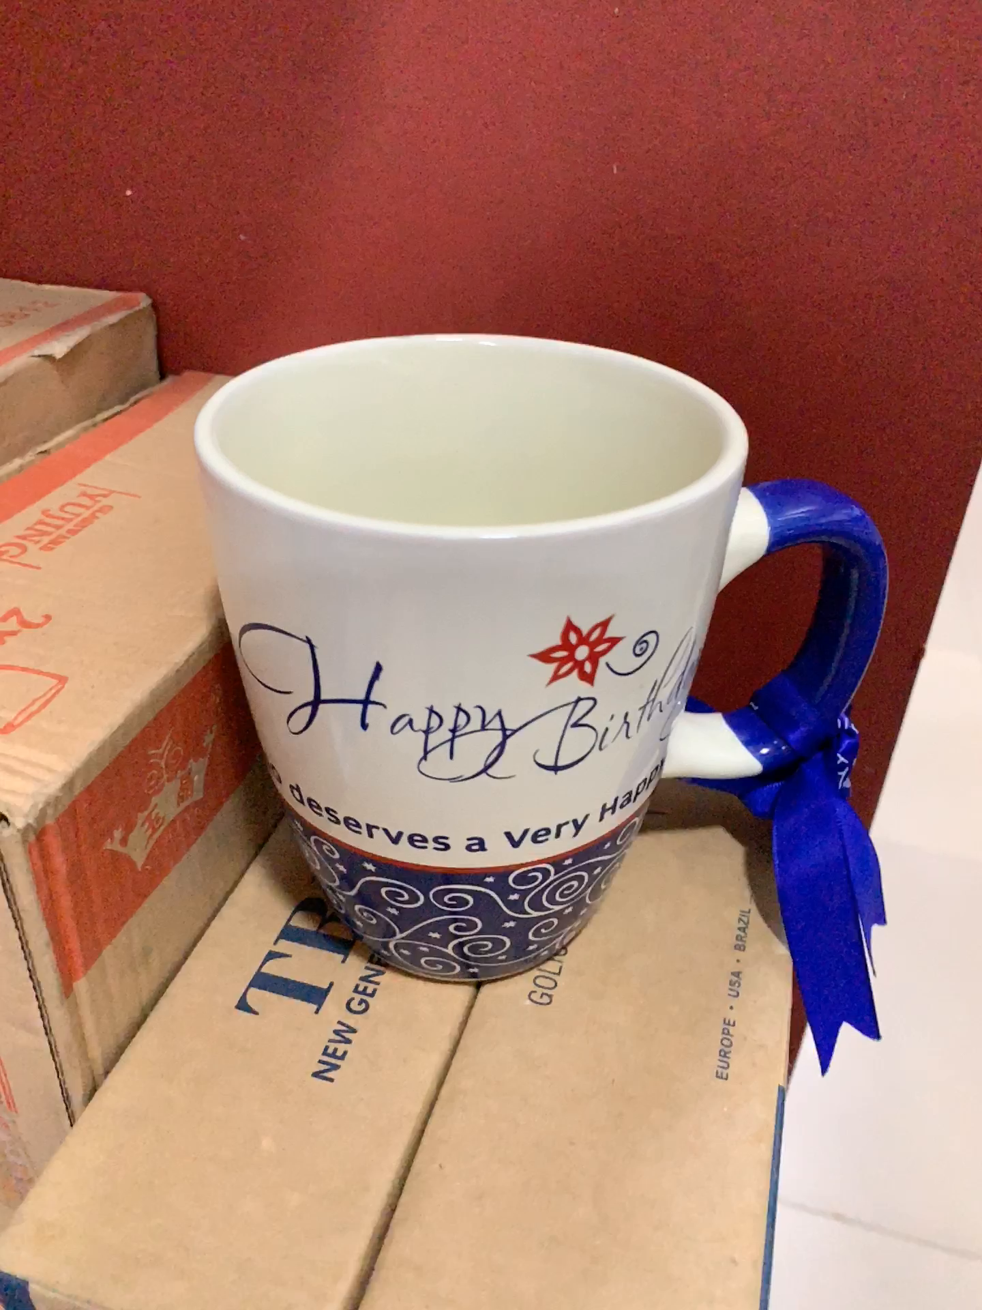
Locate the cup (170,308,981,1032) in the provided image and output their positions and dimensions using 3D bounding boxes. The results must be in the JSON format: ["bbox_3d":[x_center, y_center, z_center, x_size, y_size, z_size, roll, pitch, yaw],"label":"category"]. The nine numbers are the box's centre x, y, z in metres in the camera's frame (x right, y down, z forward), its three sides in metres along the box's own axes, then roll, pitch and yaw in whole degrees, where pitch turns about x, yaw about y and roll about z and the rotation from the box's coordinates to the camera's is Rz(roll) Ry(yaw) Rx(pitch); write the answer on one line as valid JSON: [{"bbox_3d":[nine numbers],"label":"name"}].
[{"bbox_3d":[0.016,-0.007,0.192,0.131,0.086,0.092,-6,34,-11],"label":"cup"}]
